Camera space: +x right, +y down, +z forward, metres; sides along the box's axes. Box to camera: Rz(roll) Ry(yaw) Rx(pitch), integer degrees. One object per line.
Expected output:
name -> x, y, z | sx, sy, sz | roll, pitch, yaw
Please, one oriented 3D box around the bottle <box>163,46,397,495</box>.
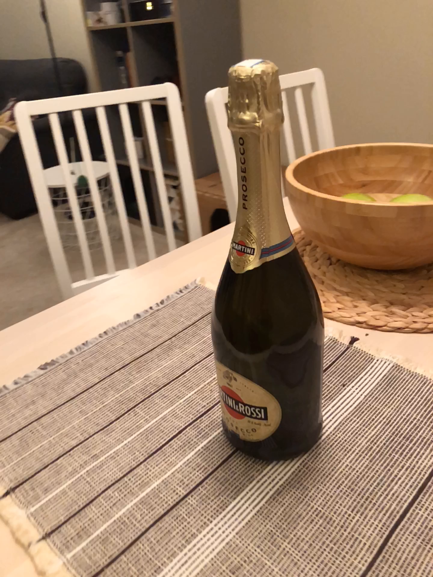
bottle -> 0.048, -0.007, 0.364 | 0.100, 0.308, 0.100 | -4, 28, 2
